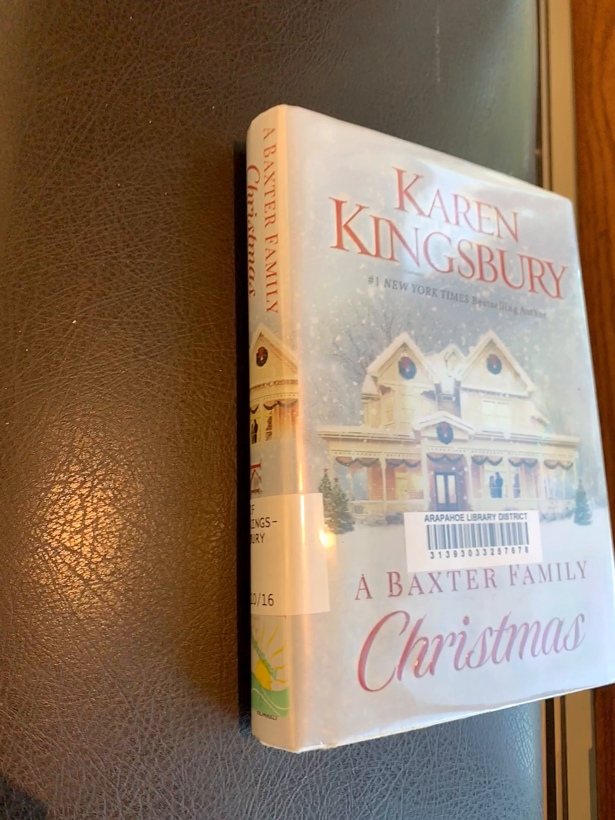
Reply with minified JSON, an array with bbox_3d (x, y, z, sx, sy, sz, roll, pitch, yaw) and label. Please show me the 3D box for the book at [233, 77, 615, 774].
[{"bbox_3d":[0.043,0.002,0.207,0.135,0.023,0.180,4,79,-29],"label":"book"}]
